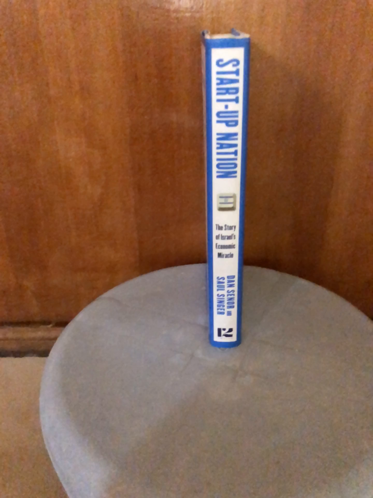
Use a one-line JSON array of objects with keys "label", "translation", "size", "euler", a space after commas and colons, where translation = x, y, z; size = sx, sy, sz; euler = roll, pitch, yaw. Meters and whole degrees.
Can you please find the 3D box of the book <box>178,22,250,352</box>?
[{"label": "book", "translation": [0.032, -0.066, 0.367], "size": [0.040, 0.229, 0.201], "euler": [-1, 27, 6]}]
